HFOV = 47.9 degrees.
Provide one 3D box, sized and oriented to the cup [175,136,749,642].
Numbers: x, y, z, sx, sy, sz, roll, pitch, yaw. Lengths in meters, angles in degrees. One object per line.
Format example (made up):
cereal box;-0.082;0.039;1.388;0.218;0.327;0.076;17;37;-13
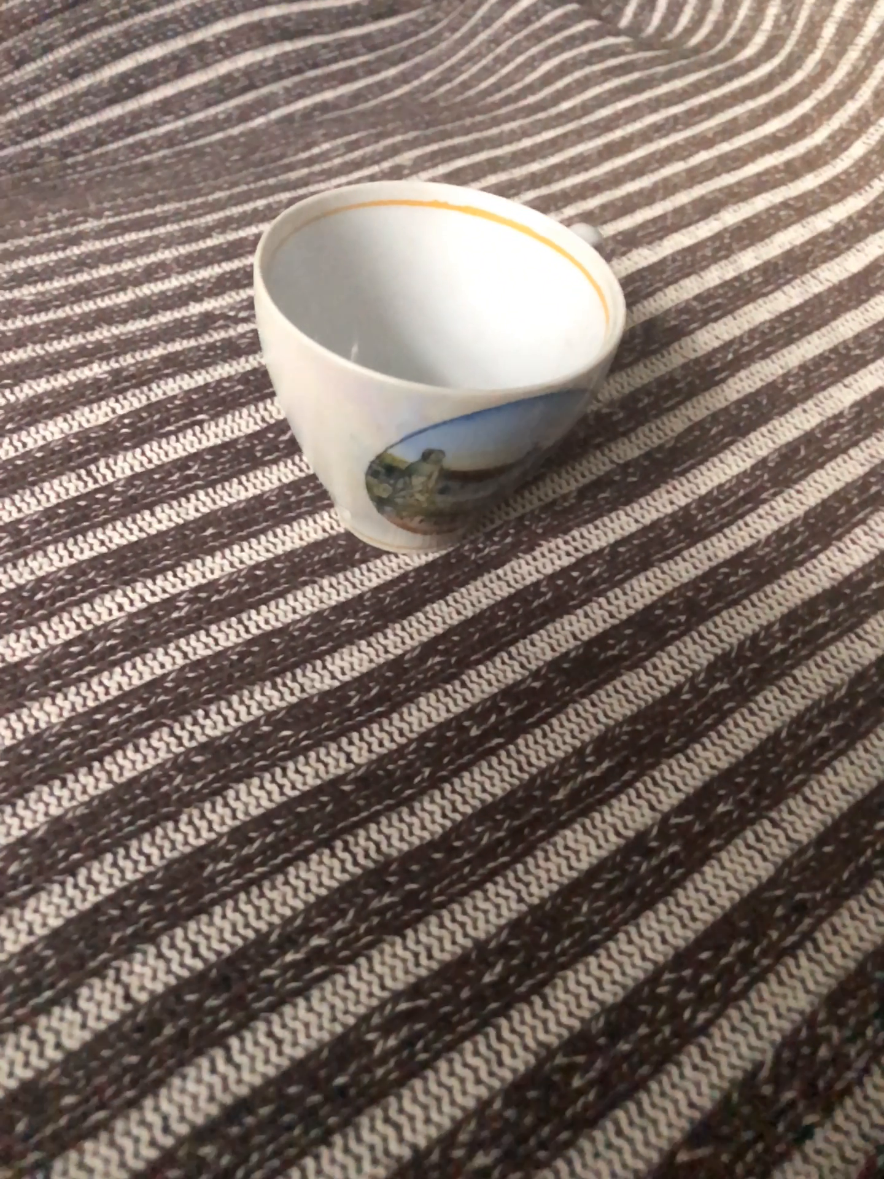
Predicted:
cup;0.003;-0.042;0.185;0.079;0.041;0.061;-33;64;-32
